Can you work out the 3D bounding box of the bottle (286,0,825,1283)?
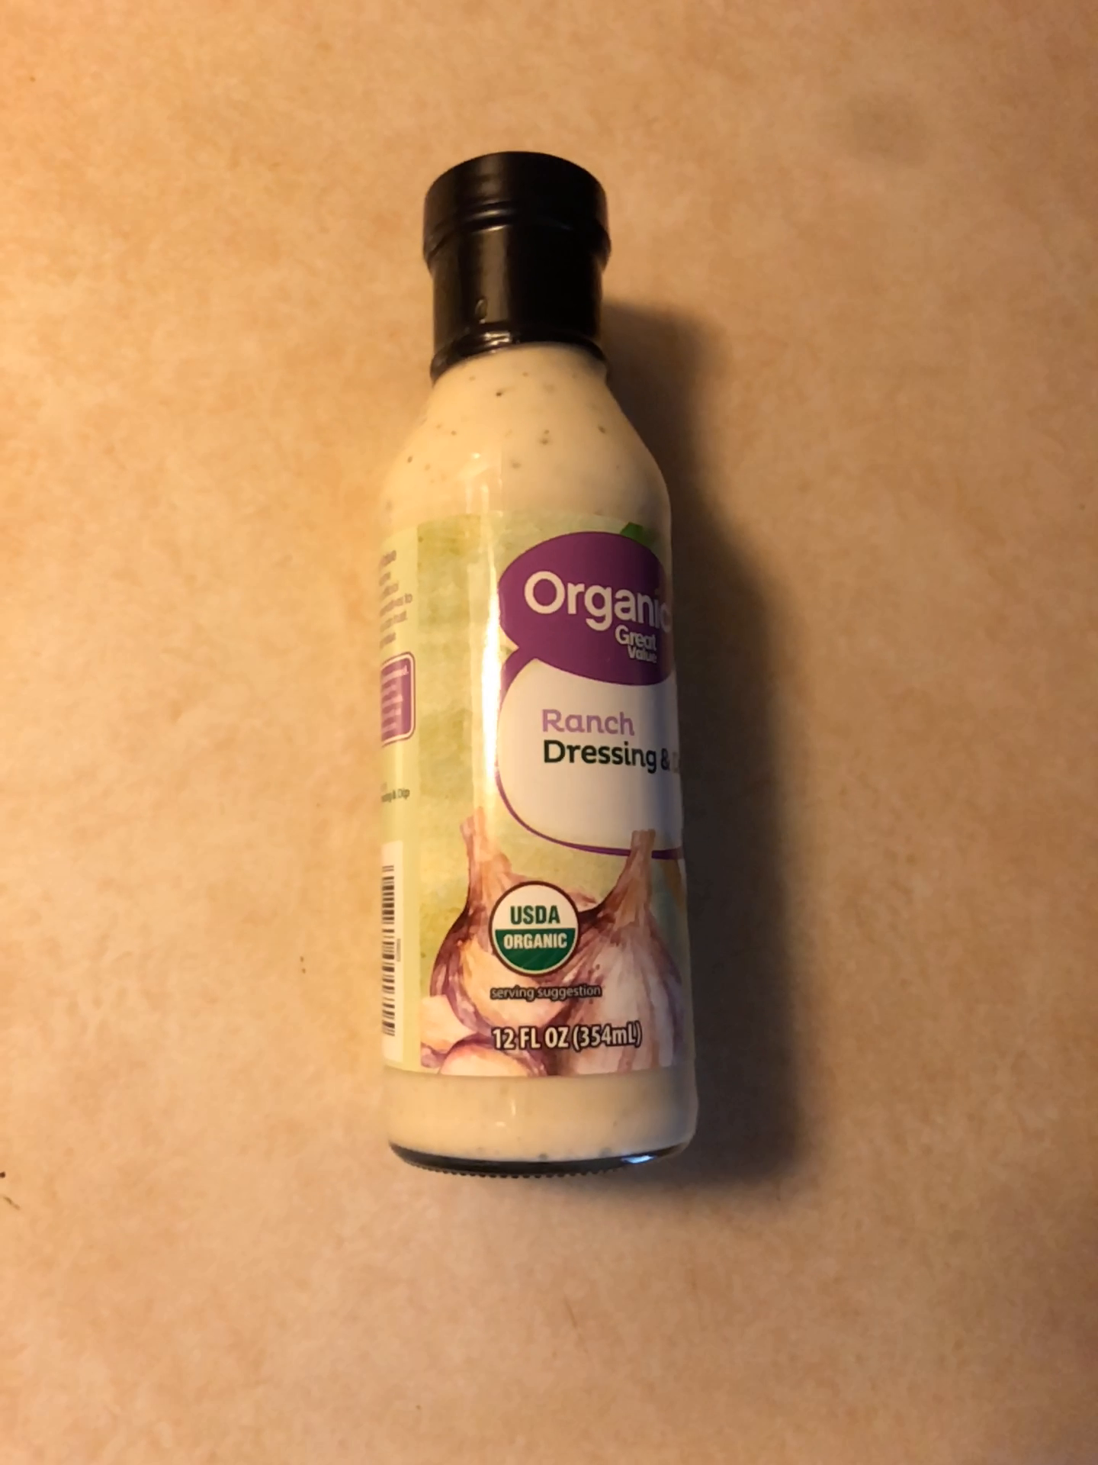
[{"bbox_3d":[-0.006,-0.025,0.244,0.070,0.060,0.230,2,77,-29],"label":"bottle"}]
